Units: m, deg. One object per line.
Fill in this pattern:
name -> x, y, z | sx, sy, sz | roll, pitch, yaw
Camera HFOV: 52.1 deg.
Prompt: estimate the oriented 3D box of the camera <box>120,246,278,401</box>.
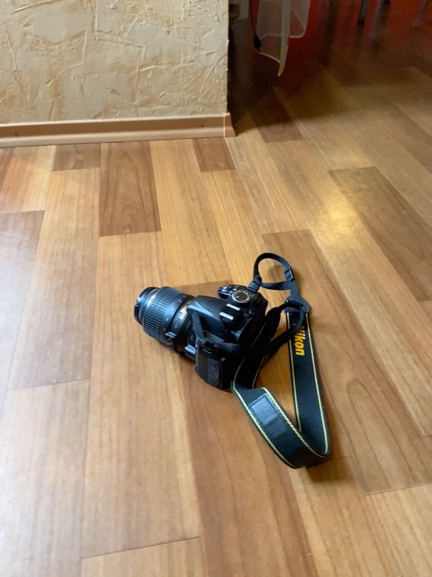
camera -> -0.019, 0.040, 0.572 | 0.153, 0.100, 0.121 | 20, 47, 20
